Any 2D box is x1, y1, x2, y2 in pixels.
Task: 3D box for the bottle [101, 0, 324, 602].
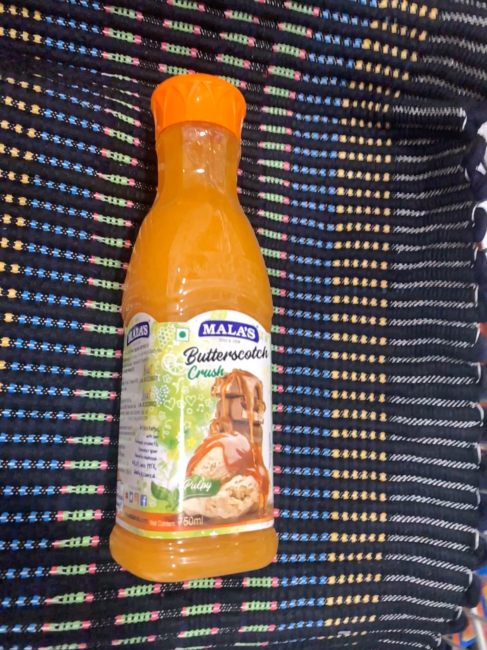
[{"bbox_3d":[-0.019,-0.021,0.236,0.070,0.060,0.250,7,71,-27],"label":"bottle"}]
